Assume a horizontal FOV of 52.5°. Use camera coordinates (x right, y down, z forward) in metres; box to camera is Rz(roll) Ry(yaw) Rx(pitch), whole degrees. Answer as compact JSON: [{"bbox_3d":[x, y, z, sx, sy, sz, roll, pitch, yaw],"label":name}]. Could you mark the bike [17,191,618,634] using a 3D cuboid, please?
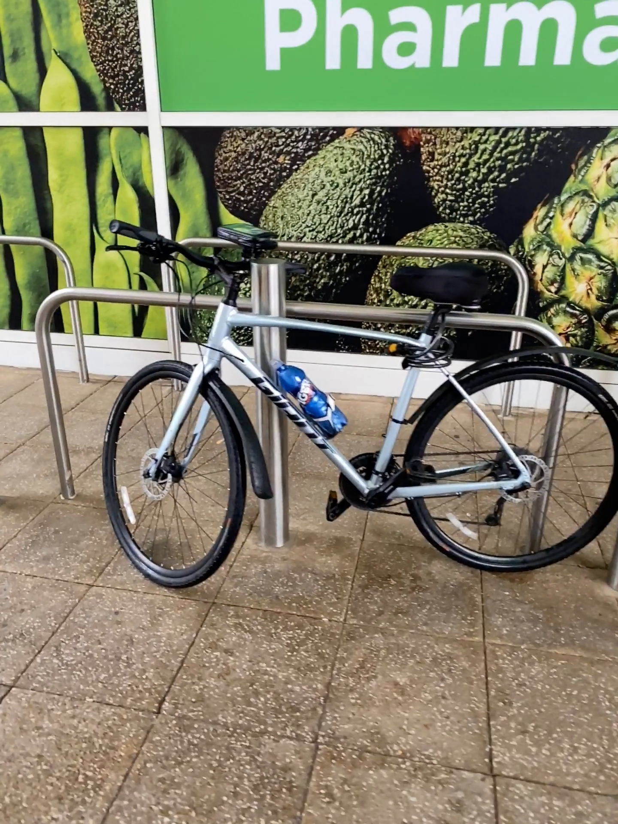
[{"bbox_3d":[0.135,-0.051,1.706,1.461,0.963,0.609,2,23,4],"label":"bike"}]
